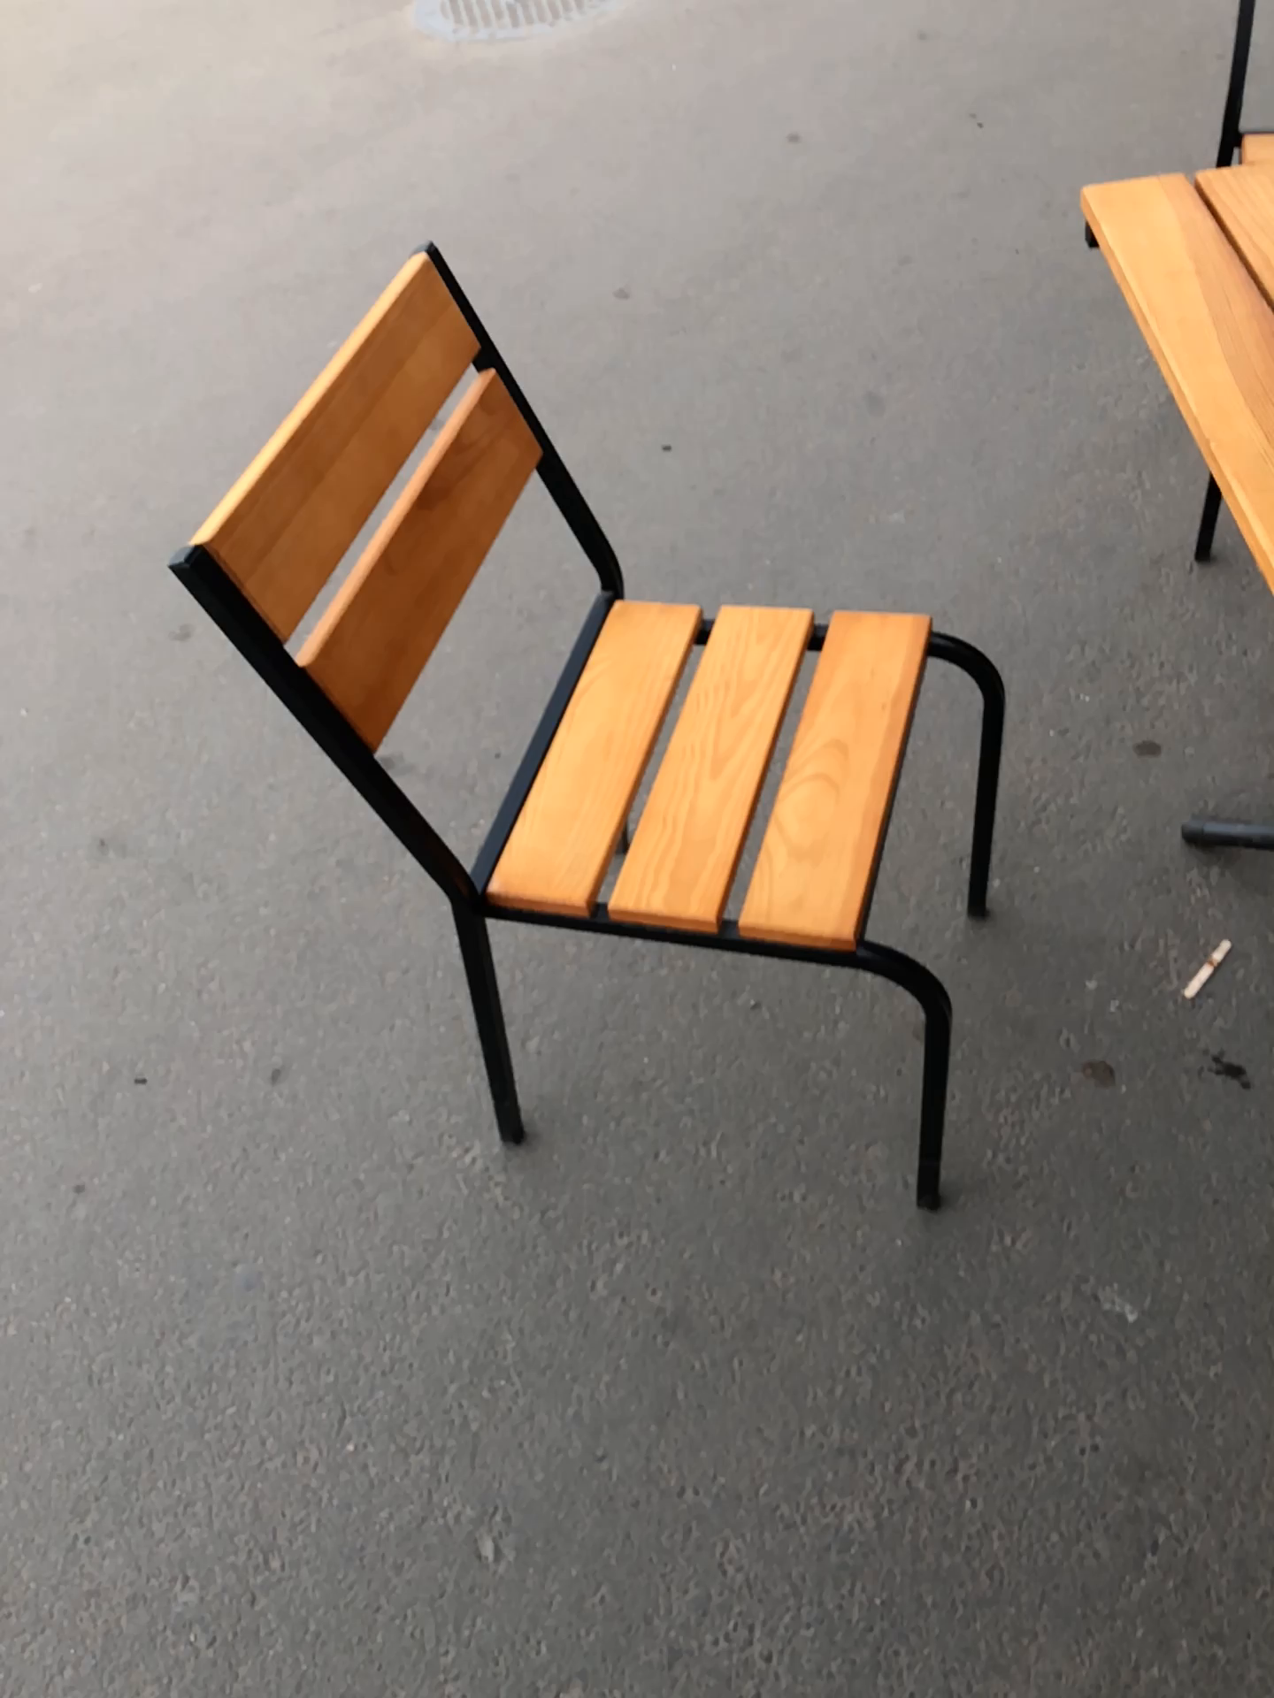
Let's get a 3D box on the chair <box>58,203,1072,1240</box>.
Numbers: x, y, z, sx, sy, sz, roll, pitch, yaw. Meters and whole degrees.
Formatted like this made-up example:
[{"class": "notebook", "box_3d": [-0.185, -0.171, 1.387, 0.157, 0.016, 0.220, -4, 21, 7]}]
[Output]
[{"class": "chair", "box_3d": [0.019, -0.106, 1.169, 0.550, 0.638, 0.491, 9, 51, 18]}]
